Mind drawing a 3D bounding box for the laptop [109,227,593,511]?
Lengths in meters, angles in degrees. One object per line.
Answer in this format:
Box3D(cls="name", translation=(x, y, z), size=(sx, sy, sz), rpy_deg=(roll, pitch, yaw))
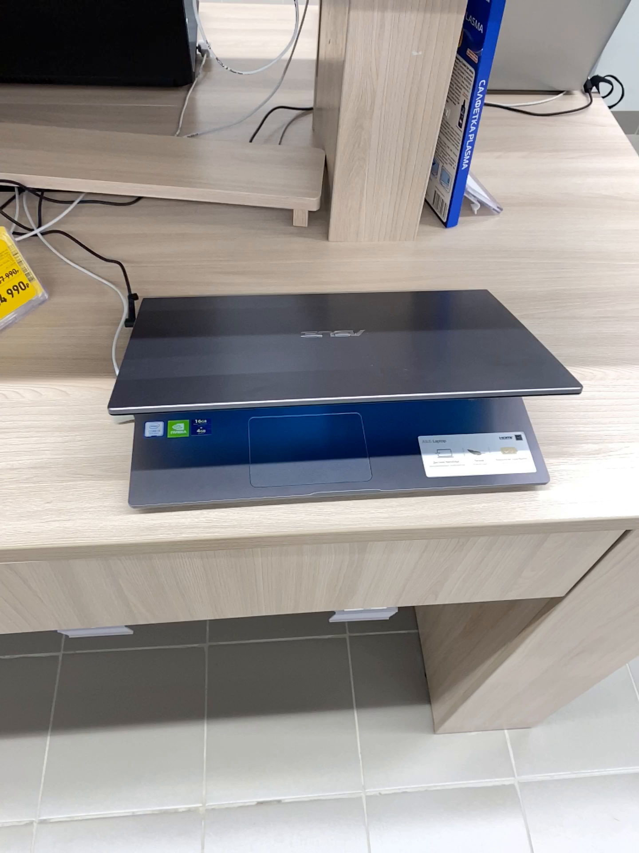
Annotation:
Box3D(cls="laptop", translation=(0.015, -0.062, 0.572), size=(0.353, 0.088, 0.237), rpy_deg=(-3, 54, -7))
